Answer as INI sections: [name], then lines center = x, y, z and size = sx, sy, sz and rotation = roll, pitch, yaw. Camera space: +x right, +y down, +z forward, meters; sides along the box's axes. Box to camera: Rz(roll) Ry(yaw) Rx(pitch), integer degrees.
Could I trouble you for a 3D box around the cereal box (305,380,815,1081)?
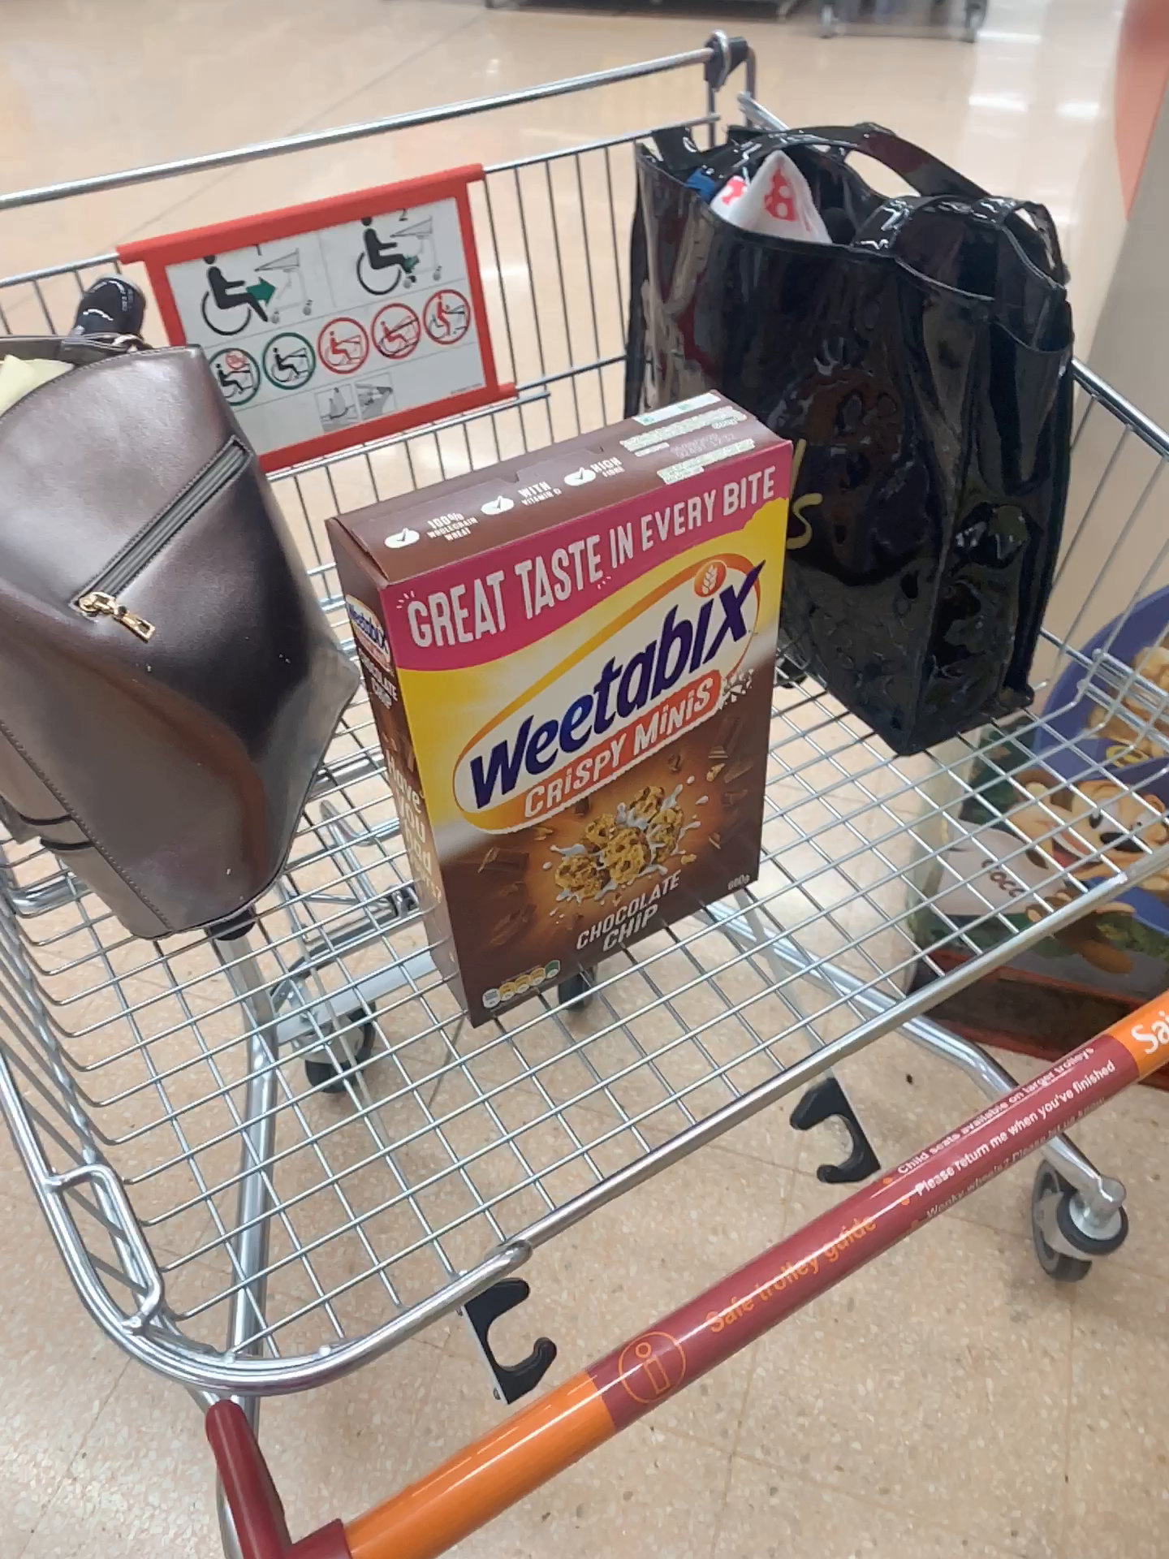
[cereal box]
center = -0.003, -0.010, 0.617
size = 0.210, 0.327, 0.071
rotation = -24, 48, -22
